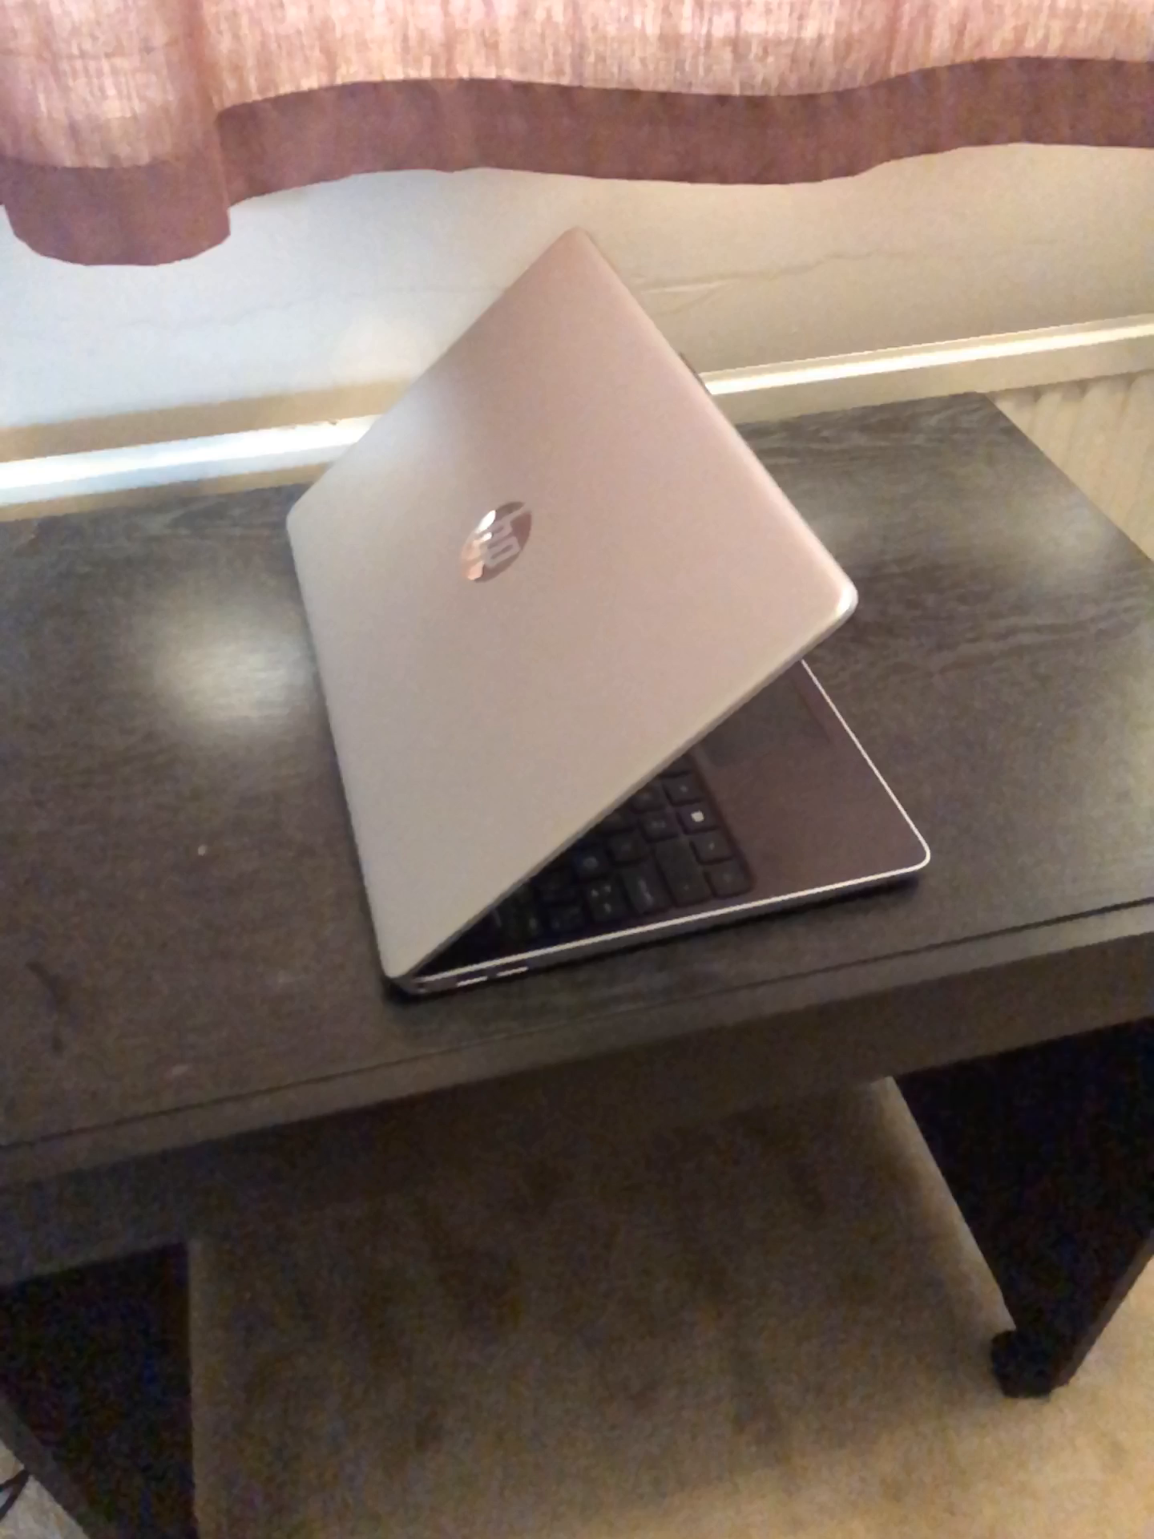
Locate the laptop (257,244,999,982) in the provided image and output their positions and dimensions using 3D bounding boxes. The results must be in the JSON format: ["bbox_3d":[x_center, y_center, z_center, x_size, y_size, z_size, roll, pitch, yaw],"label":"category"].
[{"bbox_3d":[-0.005,-0.108,0.613,0.237,0.141,0.363,-10,44,-13],"label":"laptop"}]
